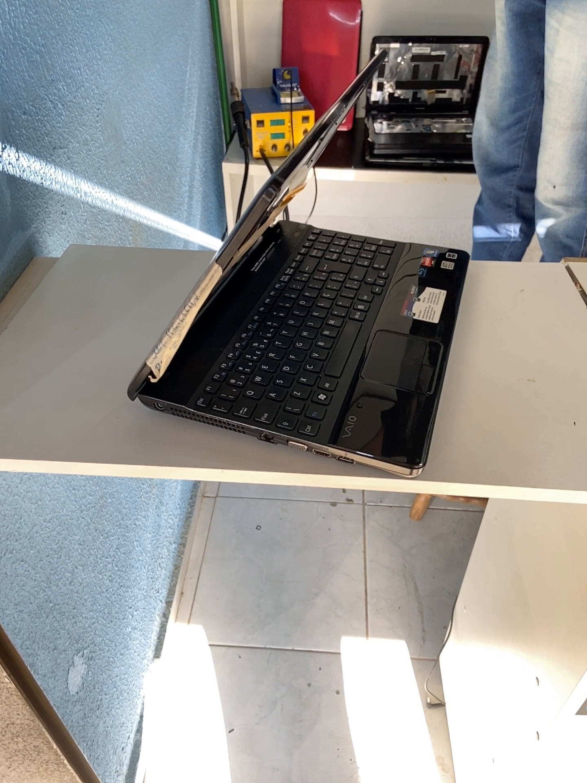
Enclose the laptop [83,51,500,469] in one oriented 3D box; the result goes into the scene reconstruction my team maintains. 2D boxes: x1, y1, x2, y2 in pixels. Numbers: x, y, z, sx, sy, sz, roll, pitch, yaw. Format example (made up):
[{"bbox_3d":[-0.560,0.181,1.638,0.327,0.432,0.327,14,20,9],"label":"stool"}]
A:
[{"bbox_3d":[0.037,-0.156,0.556,0.241,0.193,0.366,13,42,13],"label":"laptop"}]
